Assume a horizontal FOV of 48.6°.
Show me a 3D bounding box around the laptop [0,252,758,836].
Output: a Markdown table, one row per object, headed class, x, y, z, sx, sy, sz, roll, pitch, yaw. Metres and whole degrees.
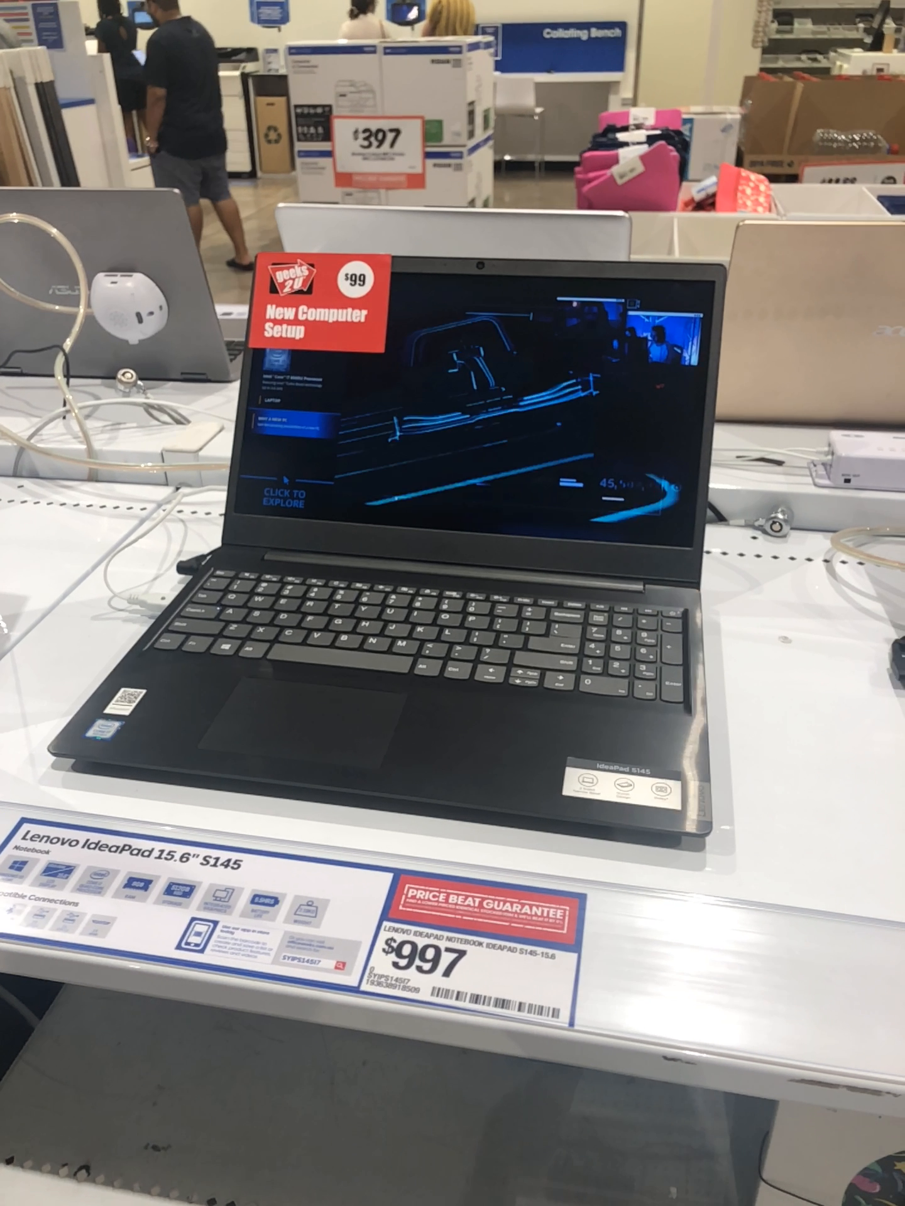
| class | x | y | z | sx | sy | sz | roll | pitch | yaw |
| --- | --- | --- | --- | --- | --- | --- | --- | --- | --- |
| laptop | -0.017 | -0.078 | 0.627 | 0.352 | 0.192 | 0.374 | 5 | 31 | 9 |
